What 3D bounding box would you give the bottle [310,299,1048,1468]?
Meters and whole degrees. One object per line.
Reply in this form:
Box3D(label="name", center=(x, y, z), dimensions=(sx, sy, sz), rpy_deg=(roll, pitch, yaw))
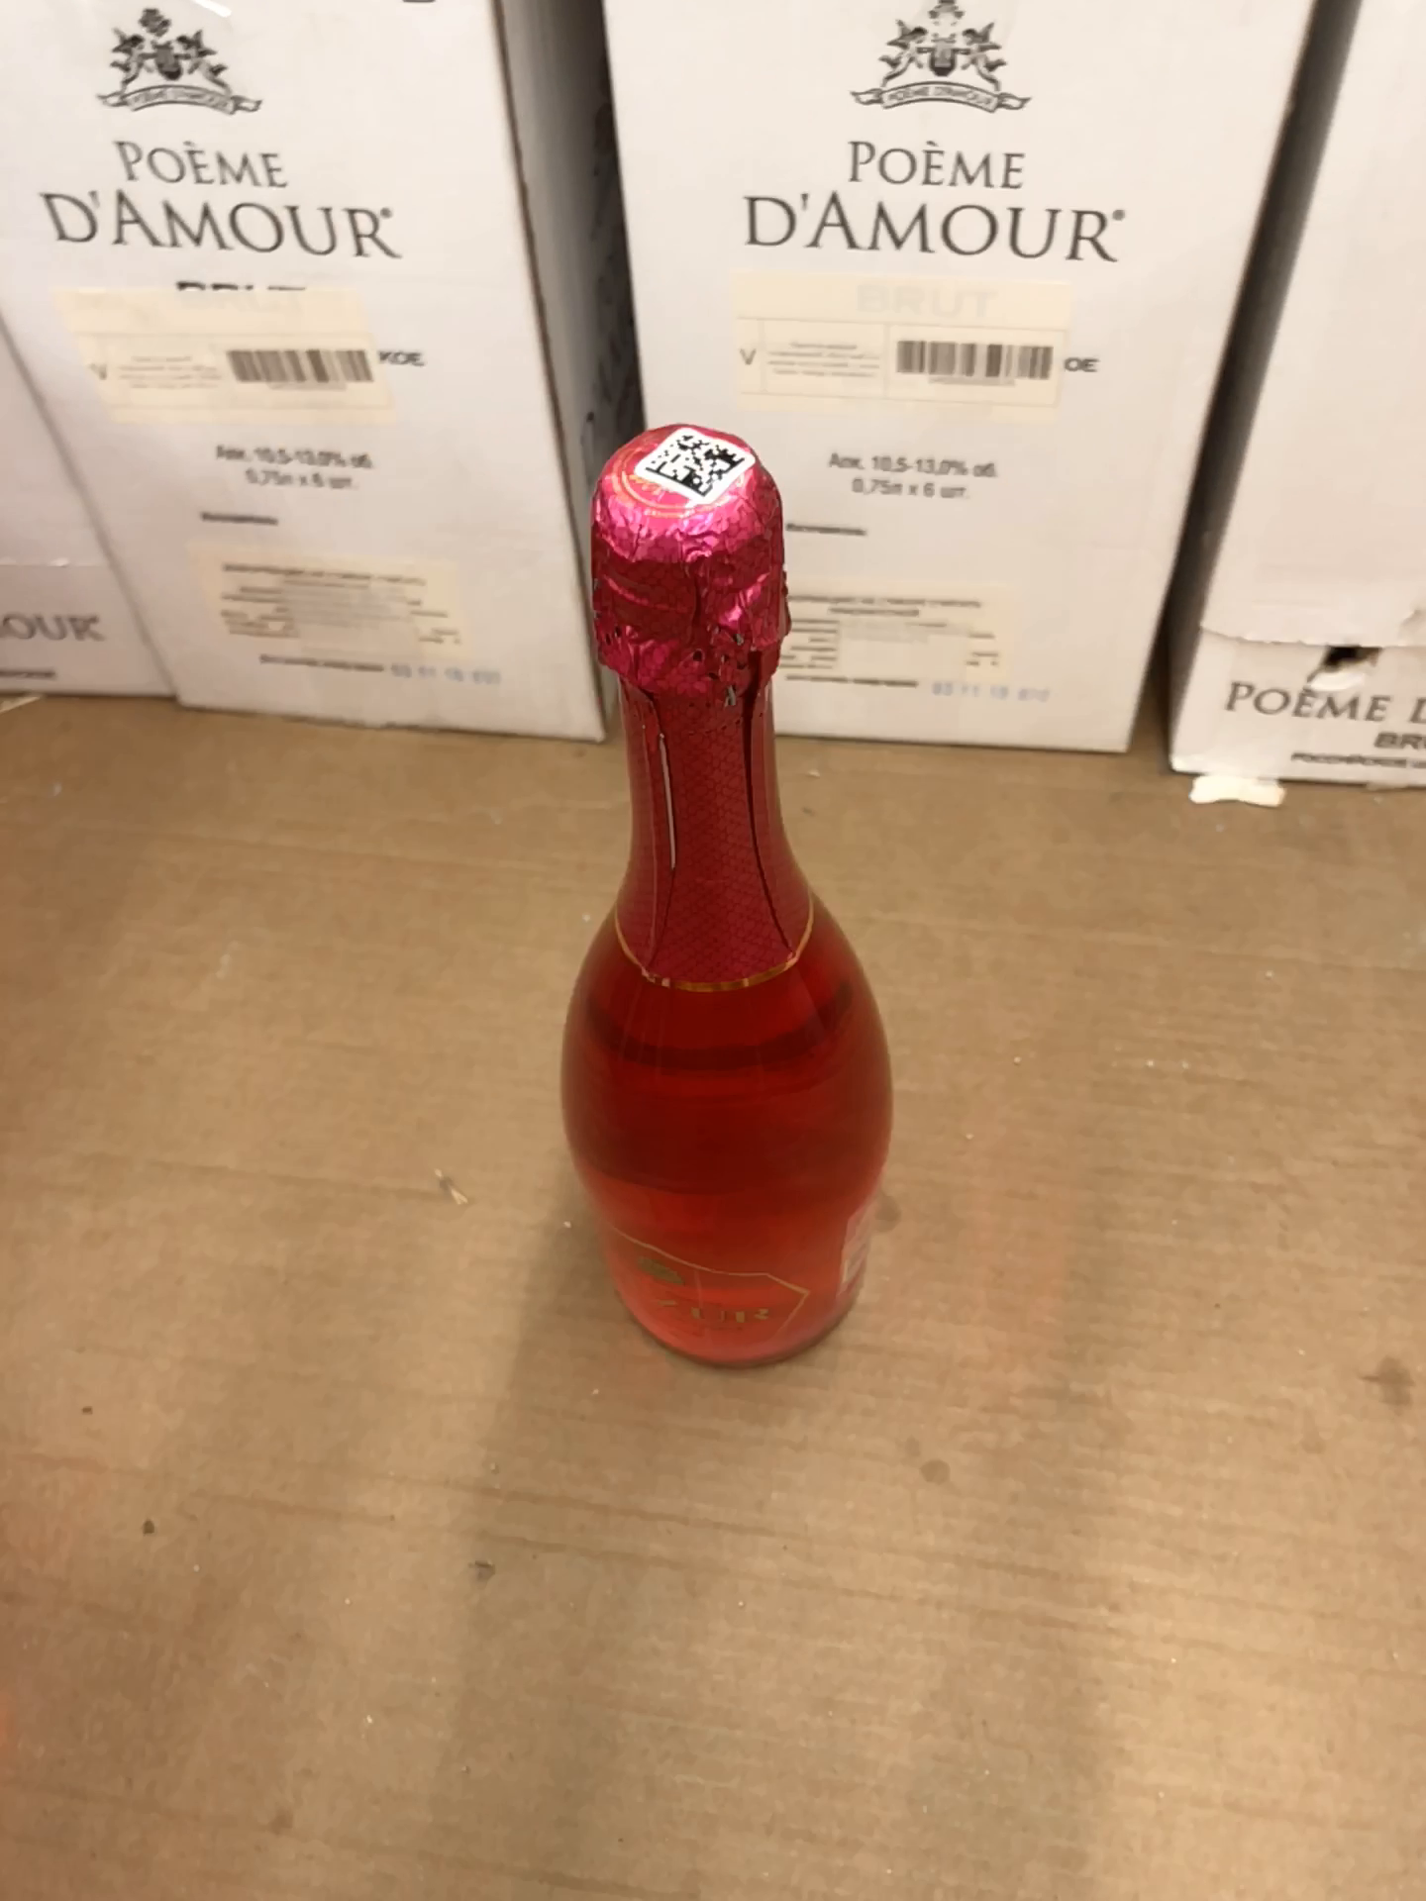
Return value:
Box3D(label="bottle", center=(0.002, 0.019, 0.391), dimensions=(0.090, 0.320, 0.090), rpy_deg=(-1, 55, 2))
